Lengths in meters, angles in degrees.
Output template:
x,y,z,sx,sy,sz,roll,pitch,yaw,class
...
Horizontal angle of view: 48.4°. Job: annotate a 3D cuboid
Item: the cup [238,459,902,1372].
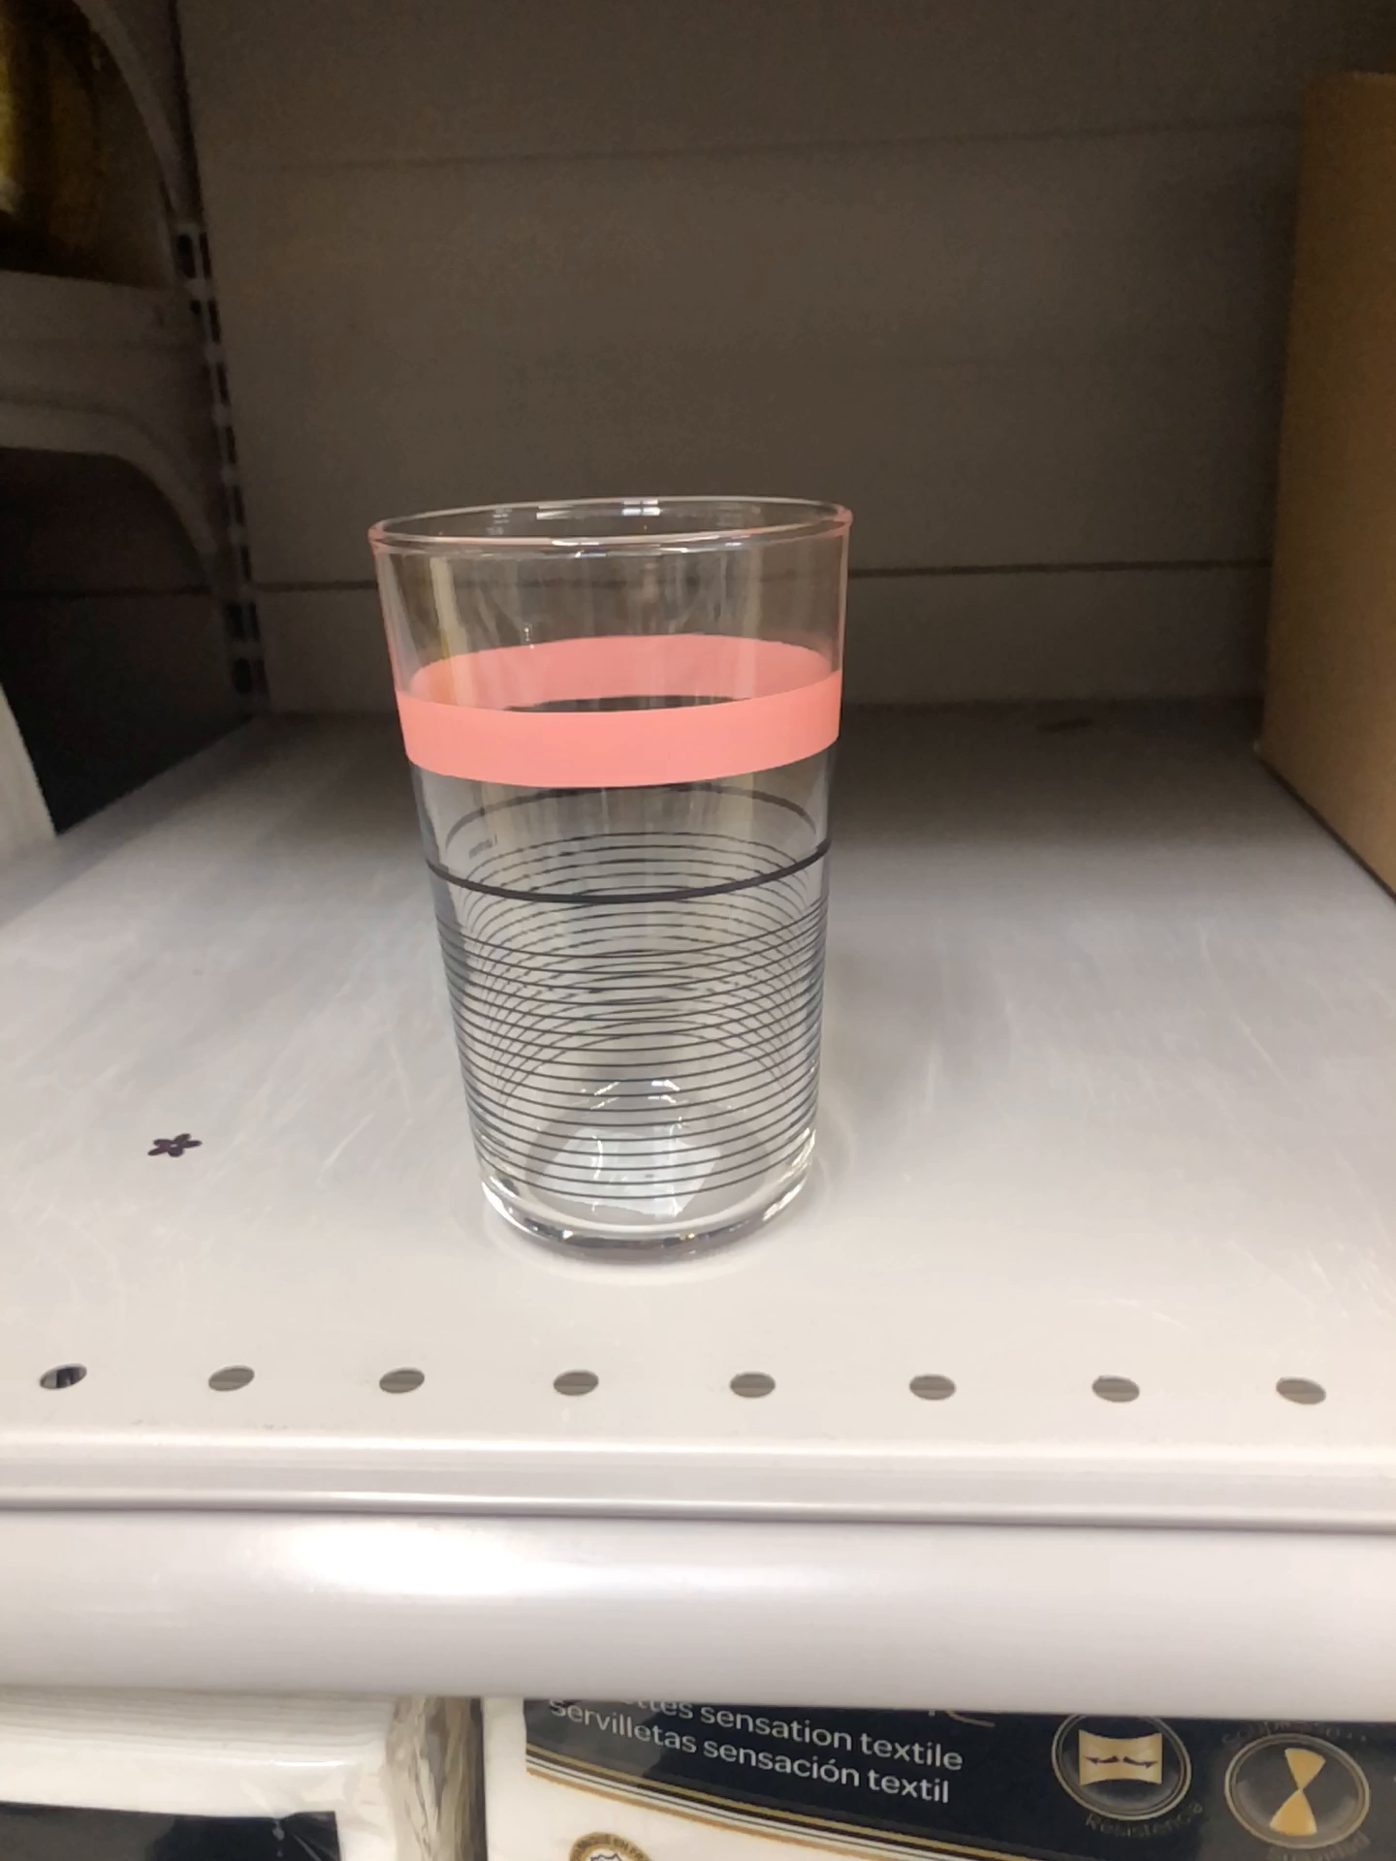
x,y,z,sx,sy,sz,roll,pitch,yaw,class
-0.014,-0.008,0.249,0.073,0.123,0.064,8,24,26,cup
